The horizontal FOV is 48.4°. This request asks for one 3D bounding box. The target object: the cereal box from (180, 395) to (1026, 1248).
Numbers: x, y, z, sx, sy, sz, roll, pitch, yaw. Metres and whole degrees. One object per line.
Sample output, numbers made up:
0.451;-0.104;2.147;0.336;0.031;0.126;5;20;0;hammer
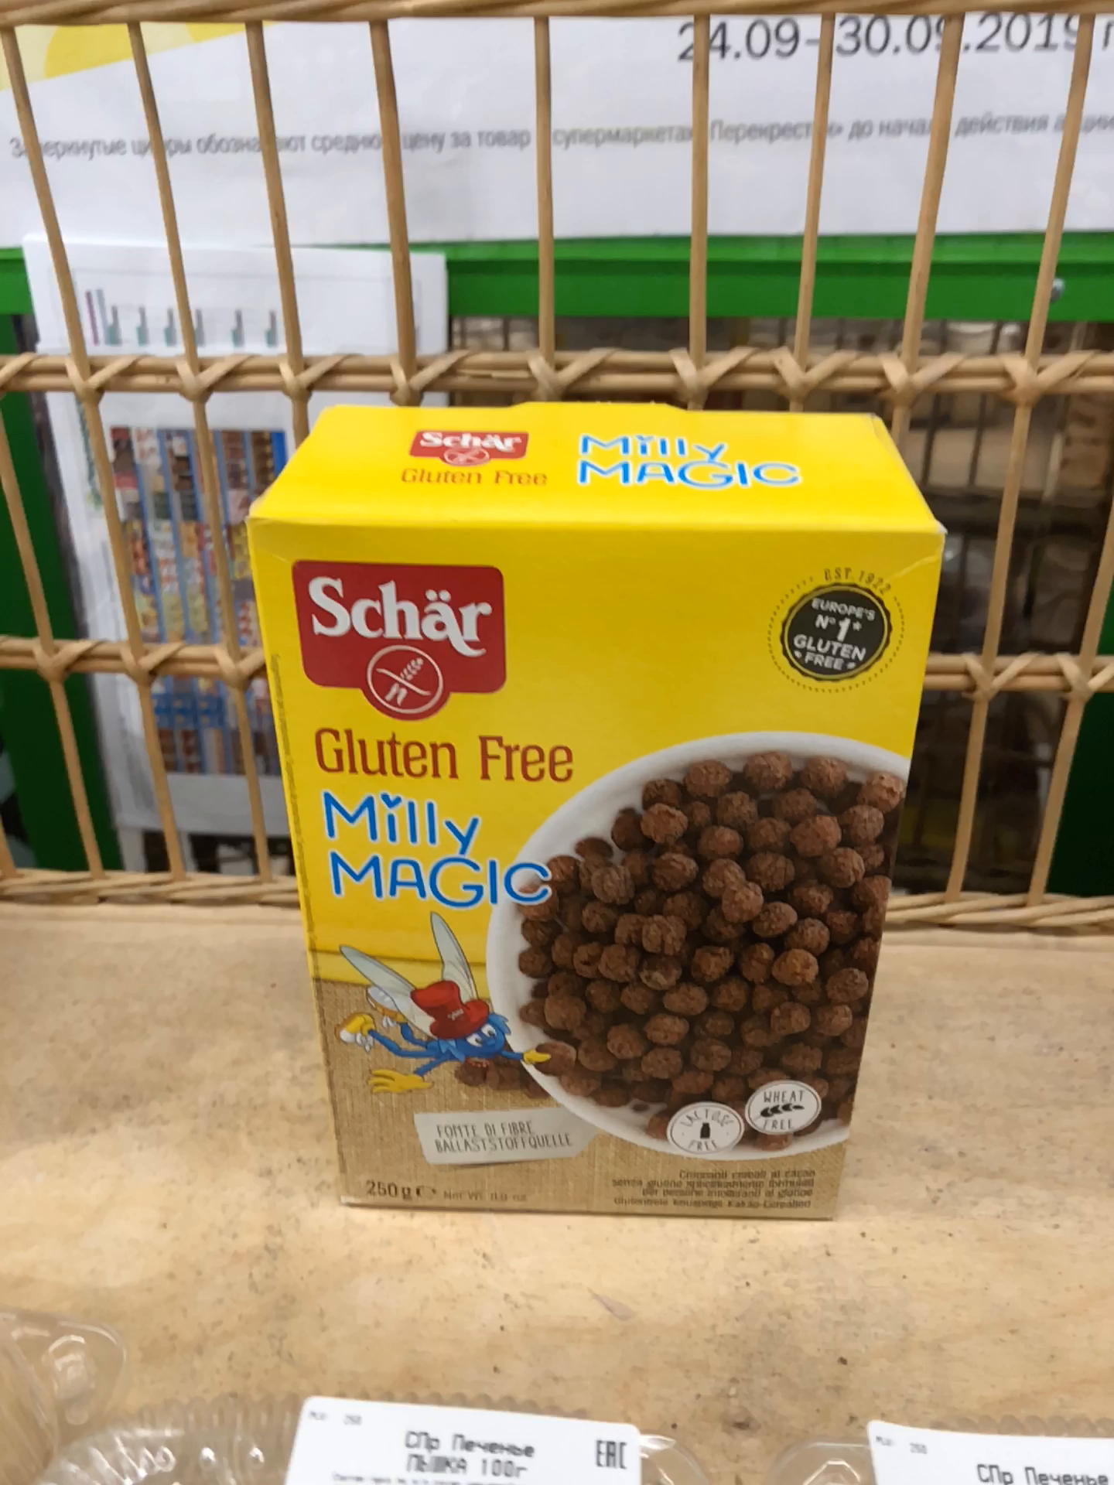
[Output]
0.011;0.026;0.322;0.160;0.209;0.080;1;31;3;cereal box
